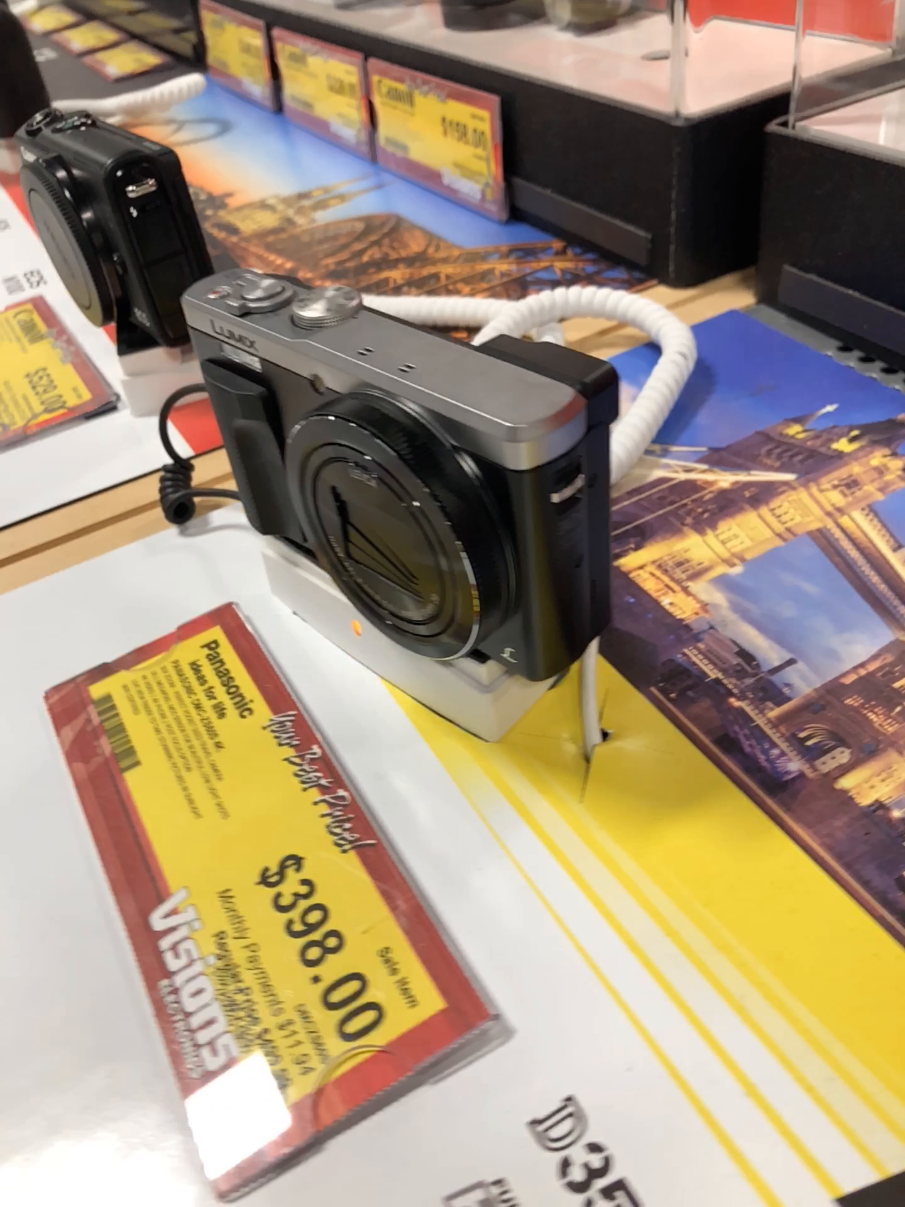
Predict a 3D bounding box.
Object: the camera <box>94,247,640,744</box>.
[{"bbox_3d":[-0.021,-0.030,0.218,0.040,0.060,0.121,-36,46,-29],"label":"camera"}]
